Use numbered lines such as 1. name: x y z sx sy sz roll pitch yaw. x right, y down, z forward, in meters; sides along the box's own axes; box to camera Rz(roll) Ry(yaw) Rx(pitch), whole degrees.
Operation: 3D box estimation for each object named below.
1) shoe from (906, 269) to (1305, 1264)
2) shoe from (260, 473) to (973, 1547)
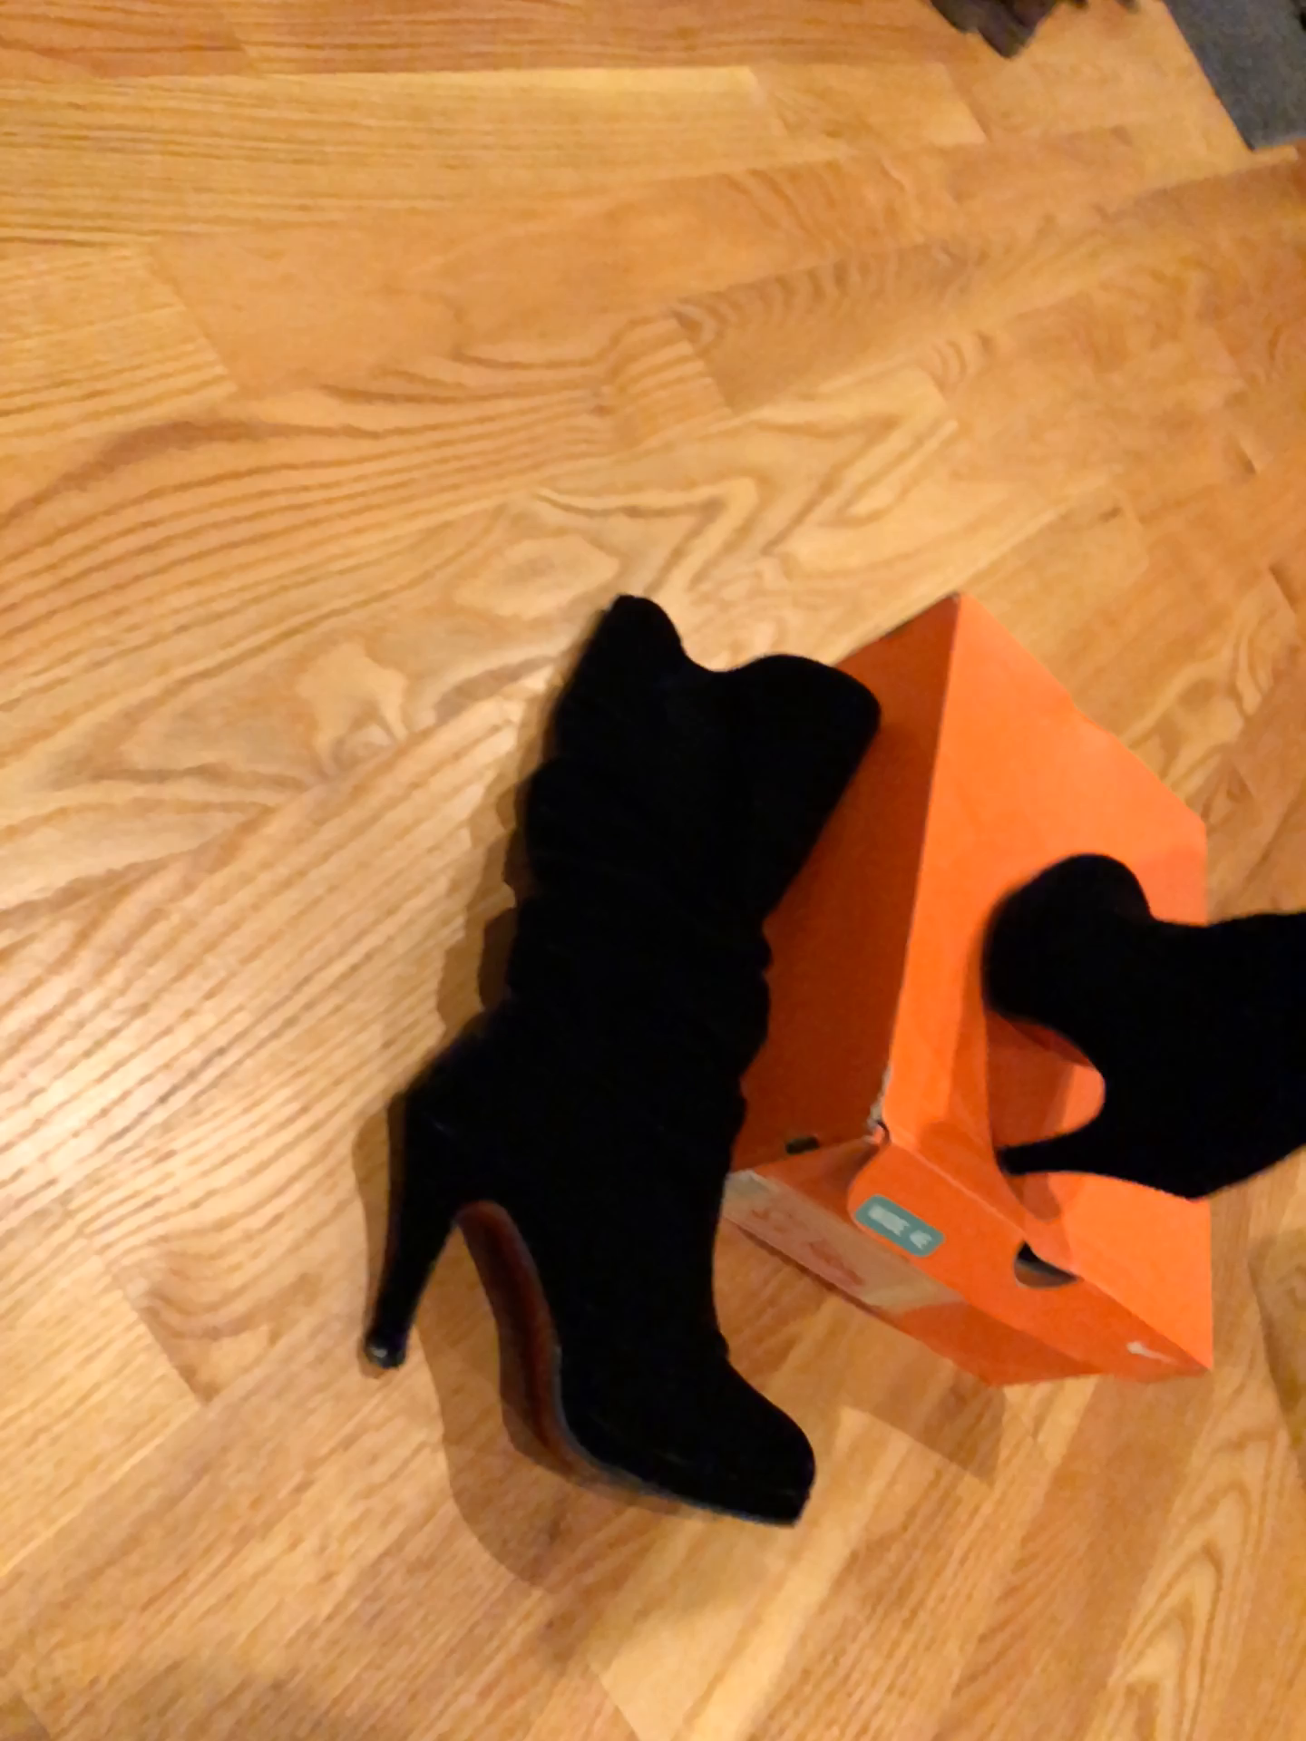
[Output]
1. shoe: 0.291 -0.009 0.520 0.089 0.397 0.217 40 47 -21
2. shoe: 0.017 0.041 0.612 0.207 0.088 0.401 35 49 -24
